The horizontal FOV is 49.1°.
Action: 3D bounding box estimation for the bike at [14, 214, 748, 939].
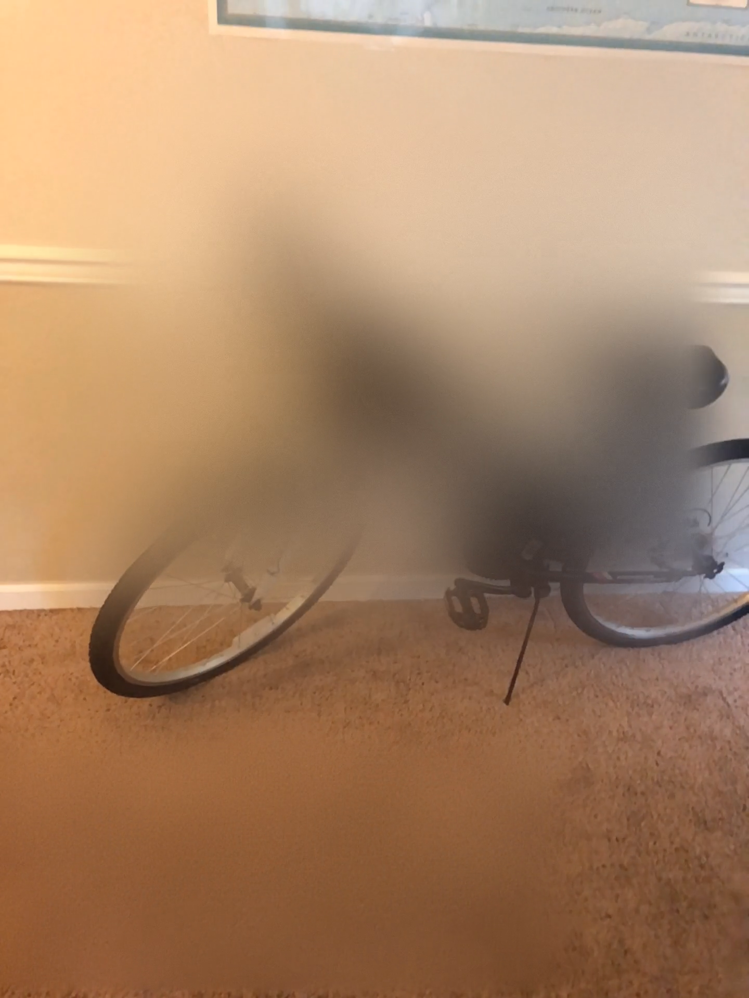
[{"bbox_3d":[0.332,0.067,1.809,1.865,1.177,0.682,-6,31,-15],"label":"bike"}]
